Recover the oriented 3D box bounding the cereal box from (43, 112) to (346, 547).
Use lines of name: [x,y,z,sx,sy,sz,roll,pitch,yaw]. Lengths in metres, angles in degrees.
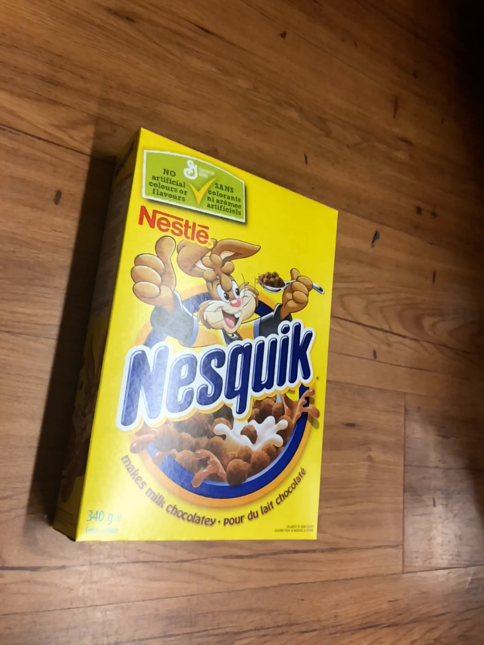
cereal box: [-0.022,0.015,0.421,0.200,0.060,0.290,13,76,-31]
